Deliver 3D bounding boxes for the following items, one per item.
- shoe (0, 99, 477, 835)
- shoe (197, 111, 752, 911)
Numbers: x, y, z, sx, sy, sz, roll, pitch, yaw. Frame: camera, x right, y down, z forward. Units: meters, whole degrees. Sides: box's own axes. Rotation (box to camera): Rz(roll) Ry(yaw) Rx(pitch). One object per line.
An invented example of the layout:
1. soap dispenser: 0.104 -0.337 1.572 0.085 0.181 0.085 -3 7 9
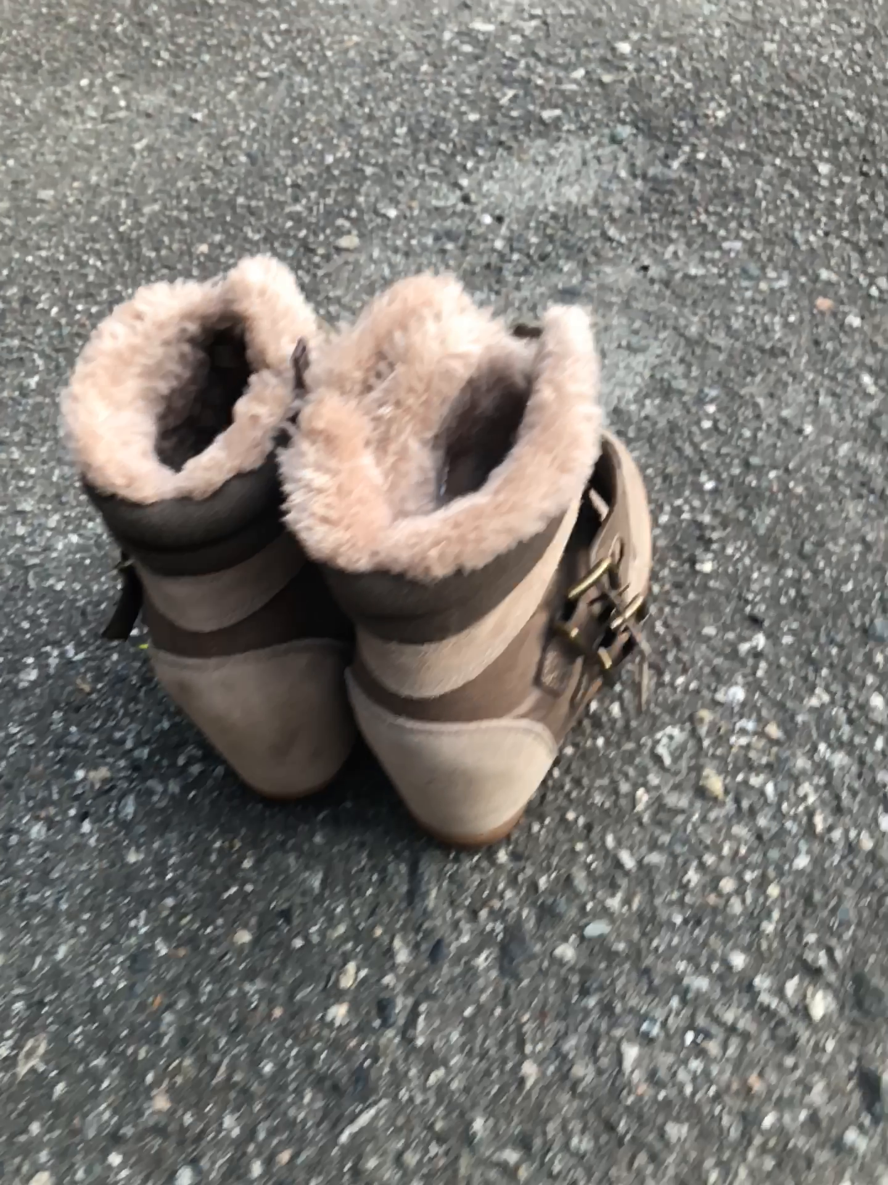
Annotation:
1. shoe: -0.070 -0.056 0.400 0.100 0.179 0.231 8 52 14
2. shoe: 0.032 -0.035 0.373 0.090 0.179 0.231 16 54 19
